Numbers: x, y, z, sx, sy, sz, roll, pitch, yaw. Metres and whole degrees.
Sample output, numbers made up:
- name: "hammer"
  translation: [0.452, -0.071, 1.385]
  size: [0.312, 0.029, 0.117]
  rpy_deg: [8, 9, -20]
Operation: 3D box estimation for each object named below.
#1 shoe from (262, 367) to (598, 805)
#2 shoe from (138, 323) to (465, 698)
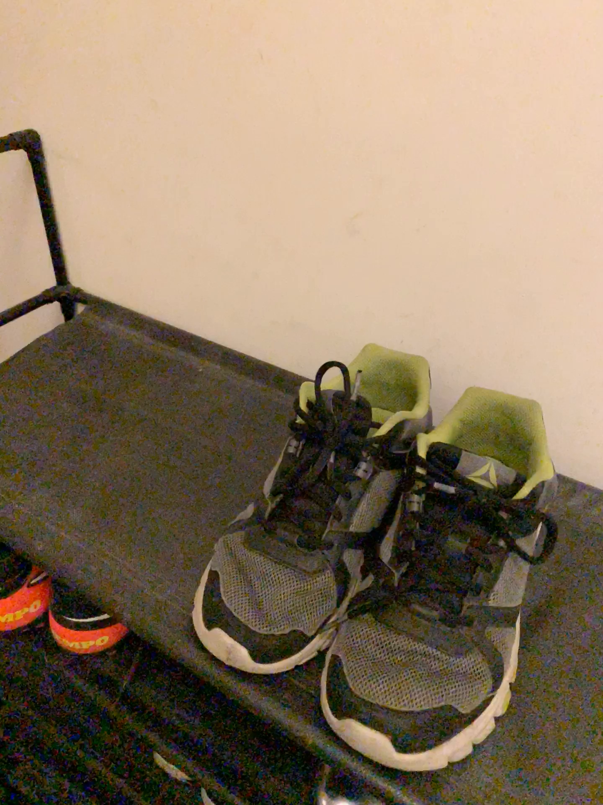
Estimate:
- name: "shoe"
  translation: [0.094, 0.085, 0.382]
  size: [0.110, 0.069, 0.262]
  rpy_deg: [20, 40, 23]
- name: "shoe"
  translation: [0.016, 0.053, 0.440]
  size: [0.100, 0.099, 0.252]
  rpy_deg: [21, 41, 24]
